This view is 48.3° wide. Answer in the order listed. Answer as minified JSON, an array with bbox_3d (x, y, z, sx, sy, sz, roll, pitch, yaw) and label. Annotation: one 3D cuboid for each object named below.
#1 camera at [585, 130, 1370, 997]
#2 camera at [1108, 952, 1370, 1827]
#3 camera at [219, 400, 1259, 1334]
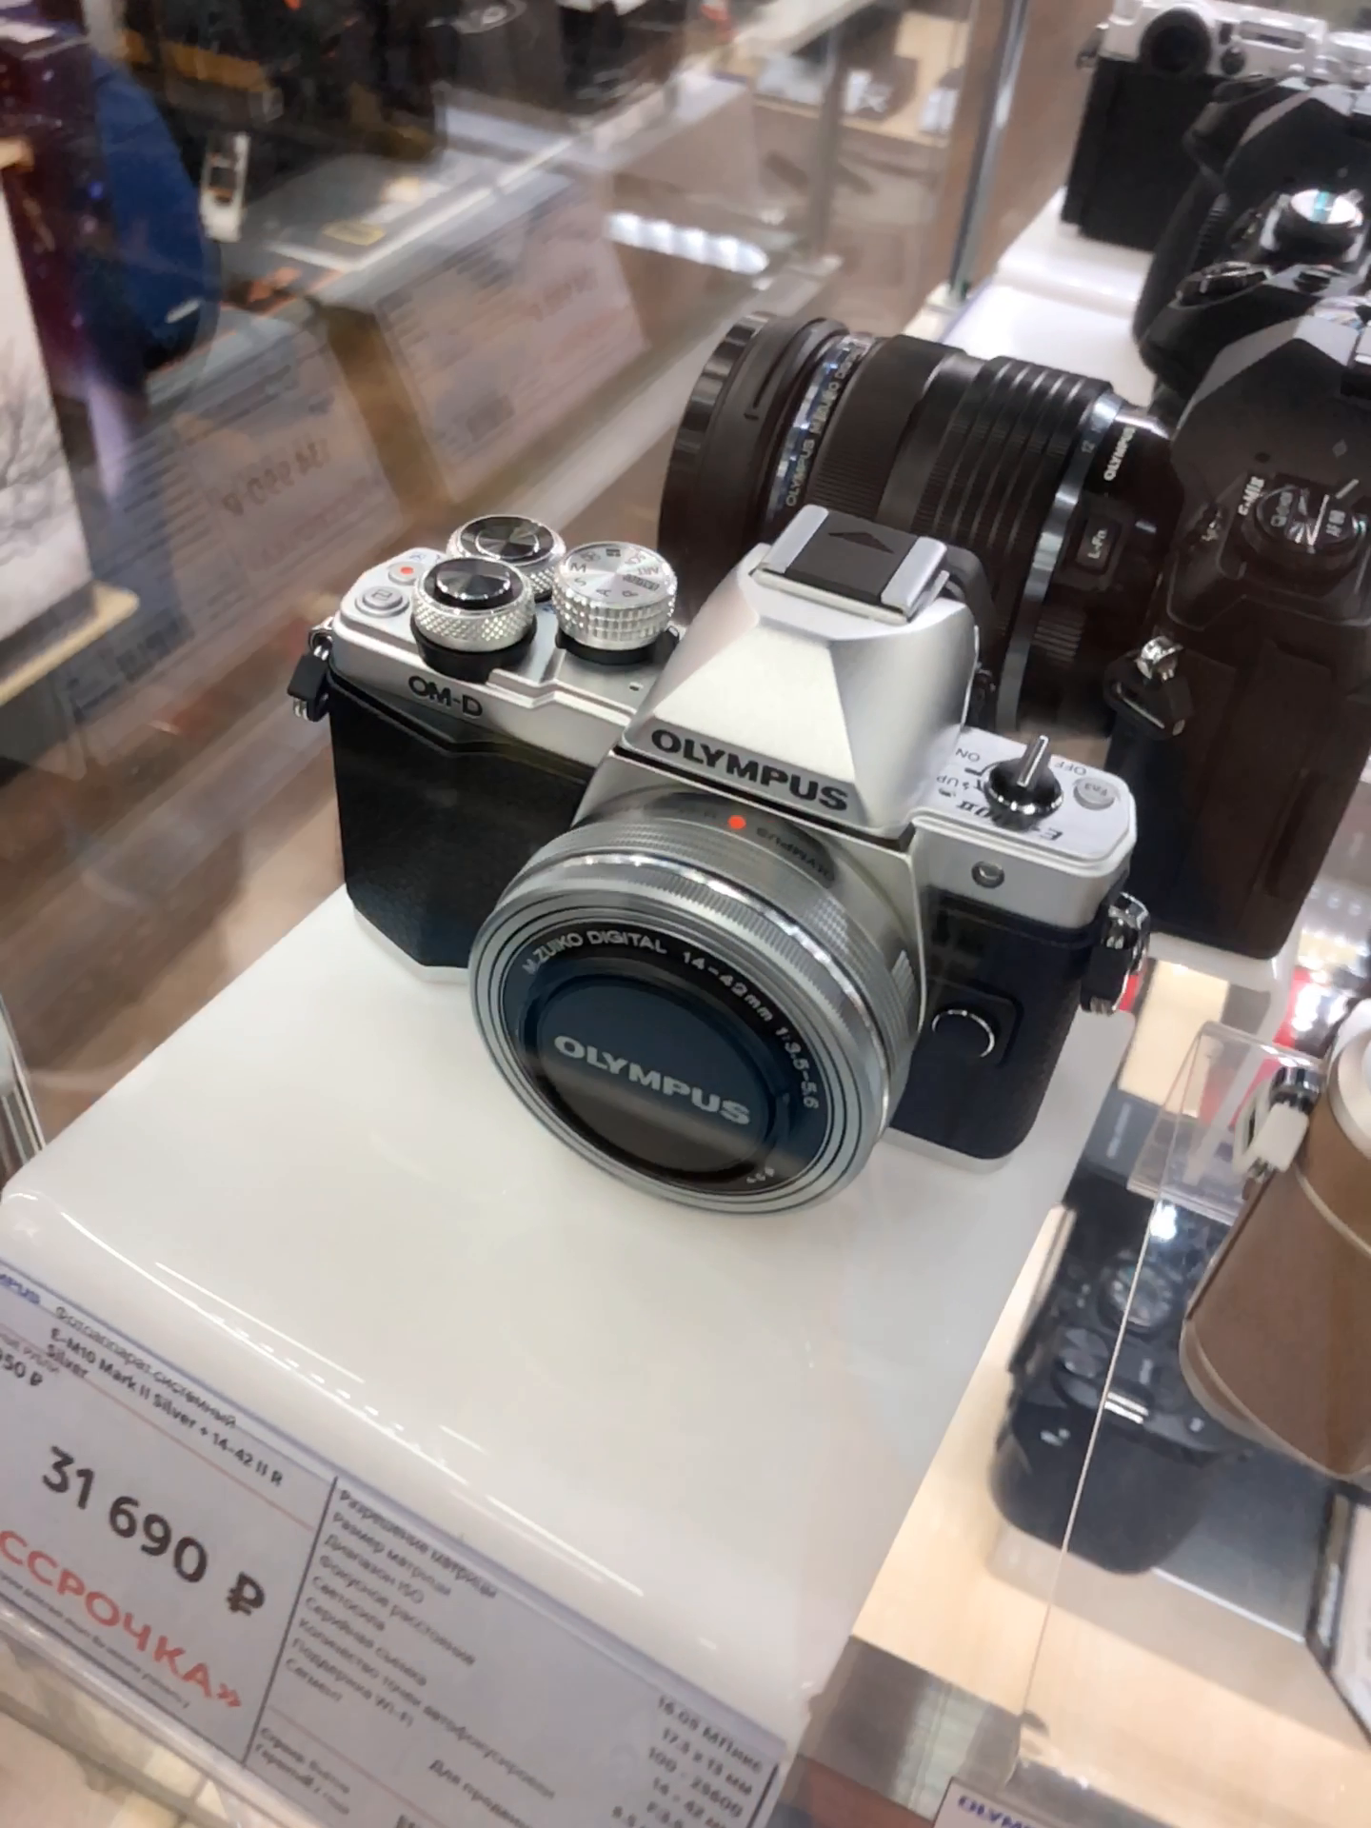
[{"bbox_3d":[0.067,-0.071,0.283,0.137,0.087,0.102,21,45,15],"label":"camera"},{"bbox_3d":[0.132,0.070,0.176,0.139,0.062,0.065,20,45,14],"label":"camera"},{"bbox_3d":[0.007,-0.011,0.229,0.120,0.080,0.072,20,45,14],"label":"camera"}]
